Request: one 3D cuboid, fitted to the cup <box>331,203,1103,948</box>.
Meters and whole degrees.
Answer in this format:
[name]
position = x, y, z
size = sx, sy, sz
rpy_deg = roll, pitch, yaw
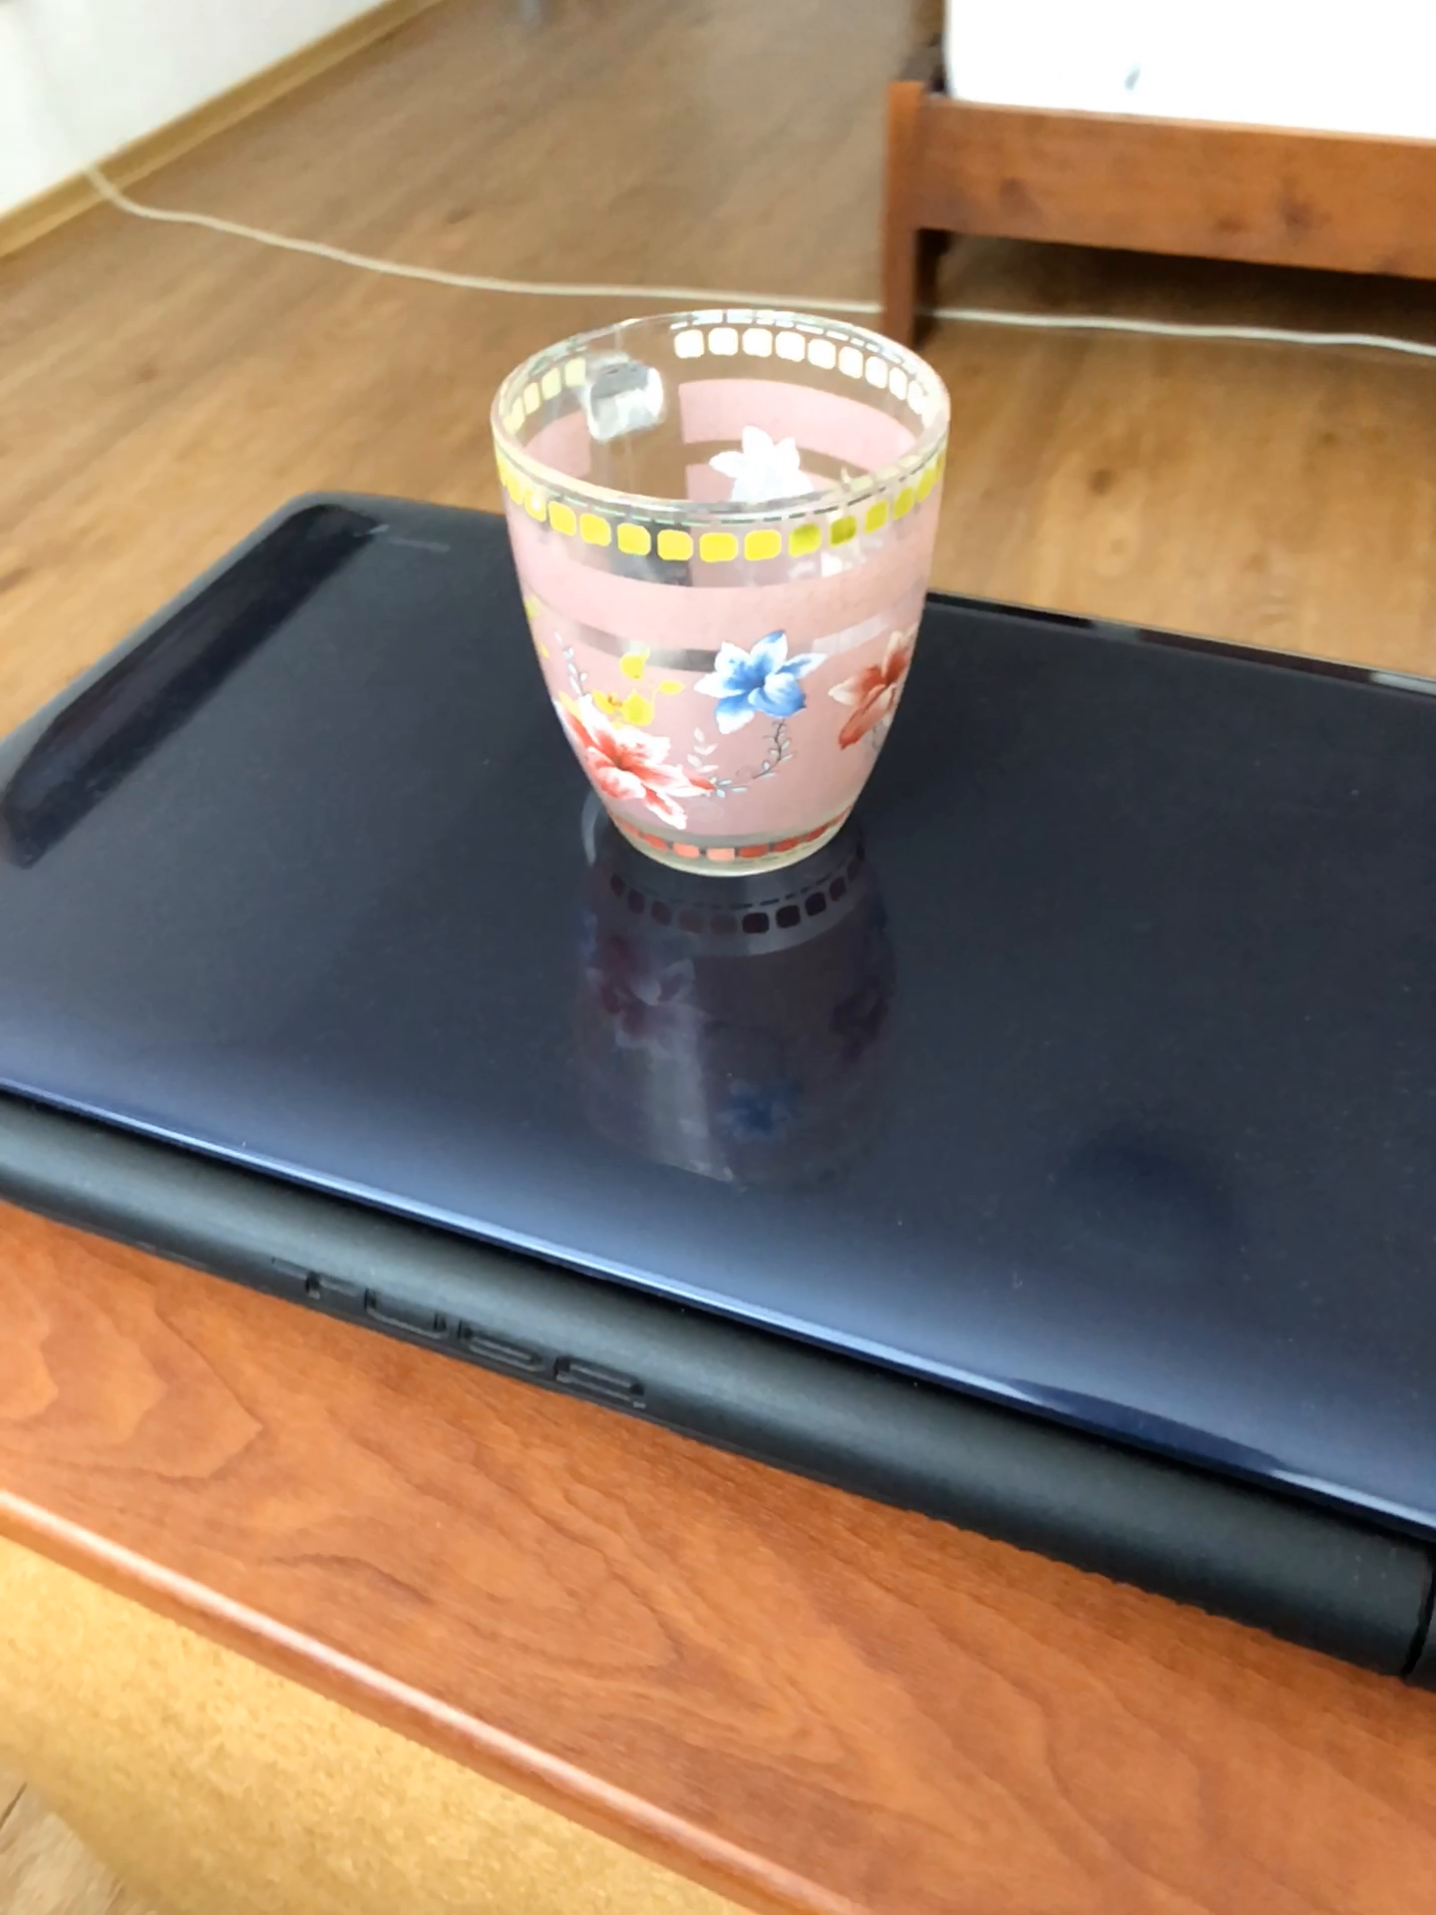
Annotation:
[cup]
position = -0.005, -0.087, 0.332
size = 0.095, 0.081, 0.131
rpy_deg = -24, 48, -21
